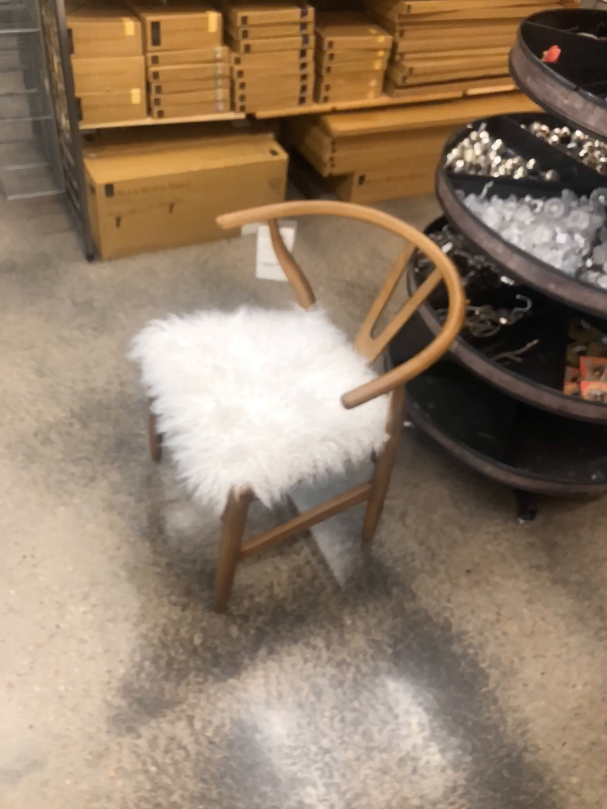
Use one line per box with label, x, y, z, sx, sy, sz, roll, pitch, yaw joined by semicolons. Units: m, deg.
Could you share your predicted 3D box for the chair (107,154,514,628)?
chair;-0.055;-0.027;1.422;0.529;0.732;0.559;-13;50;-20
